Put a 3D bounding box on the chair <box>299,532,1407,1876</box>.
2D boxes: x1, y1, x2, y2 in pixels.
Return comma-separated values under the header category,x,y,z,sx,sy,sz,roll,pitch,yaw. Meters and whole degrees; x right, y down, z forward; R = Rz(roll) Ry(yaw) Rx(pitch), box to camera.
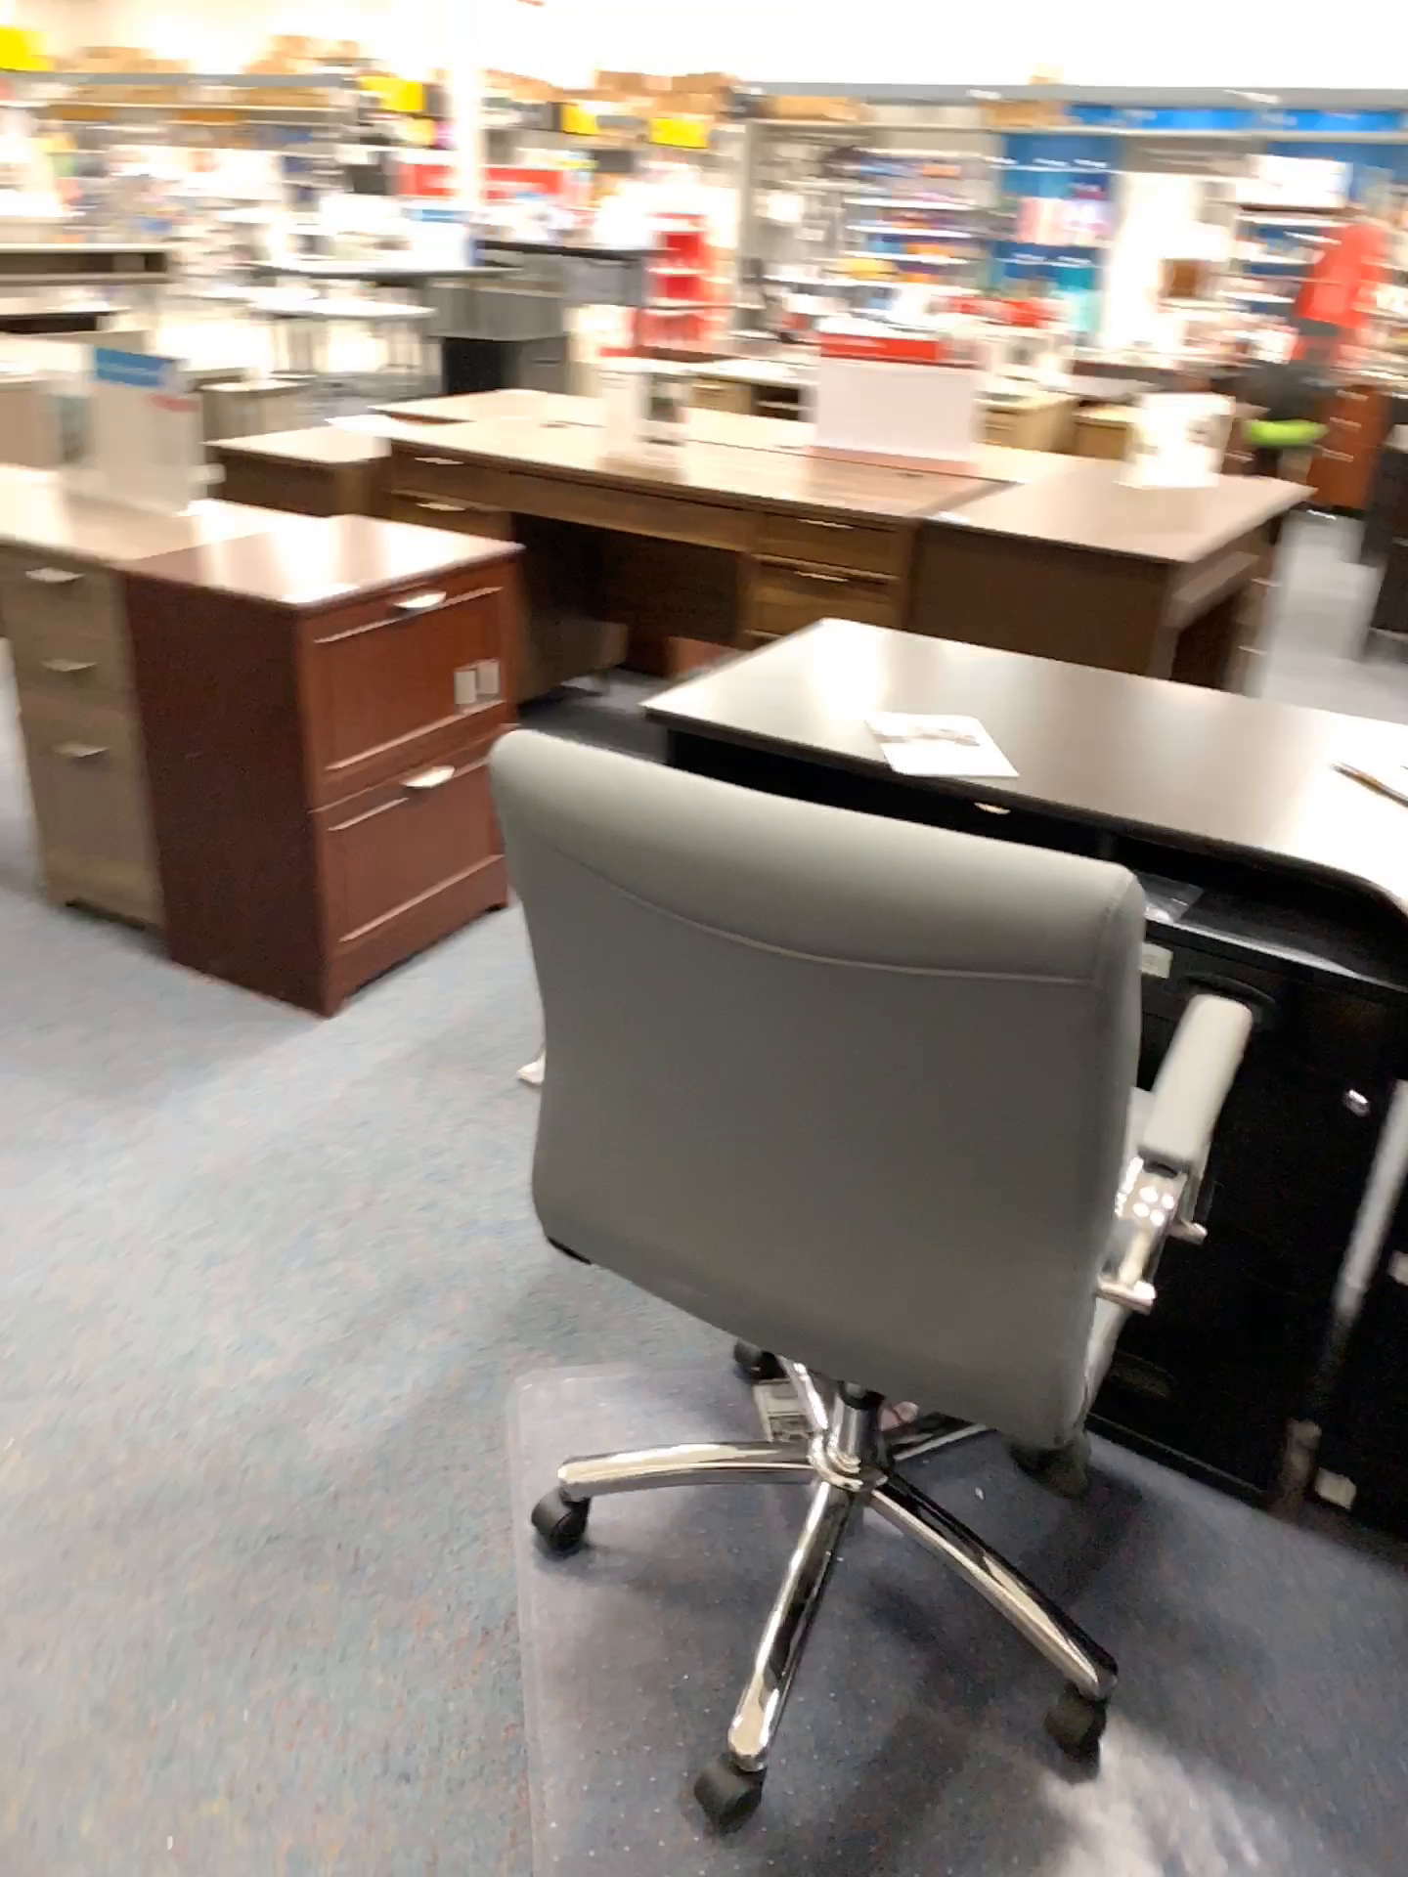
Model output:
category,x,y,z,sx,sy,sz,roll,pitch,yaw
chair,0.169,0.221,1.302,0.658,0.962,0.710,19,31,28
